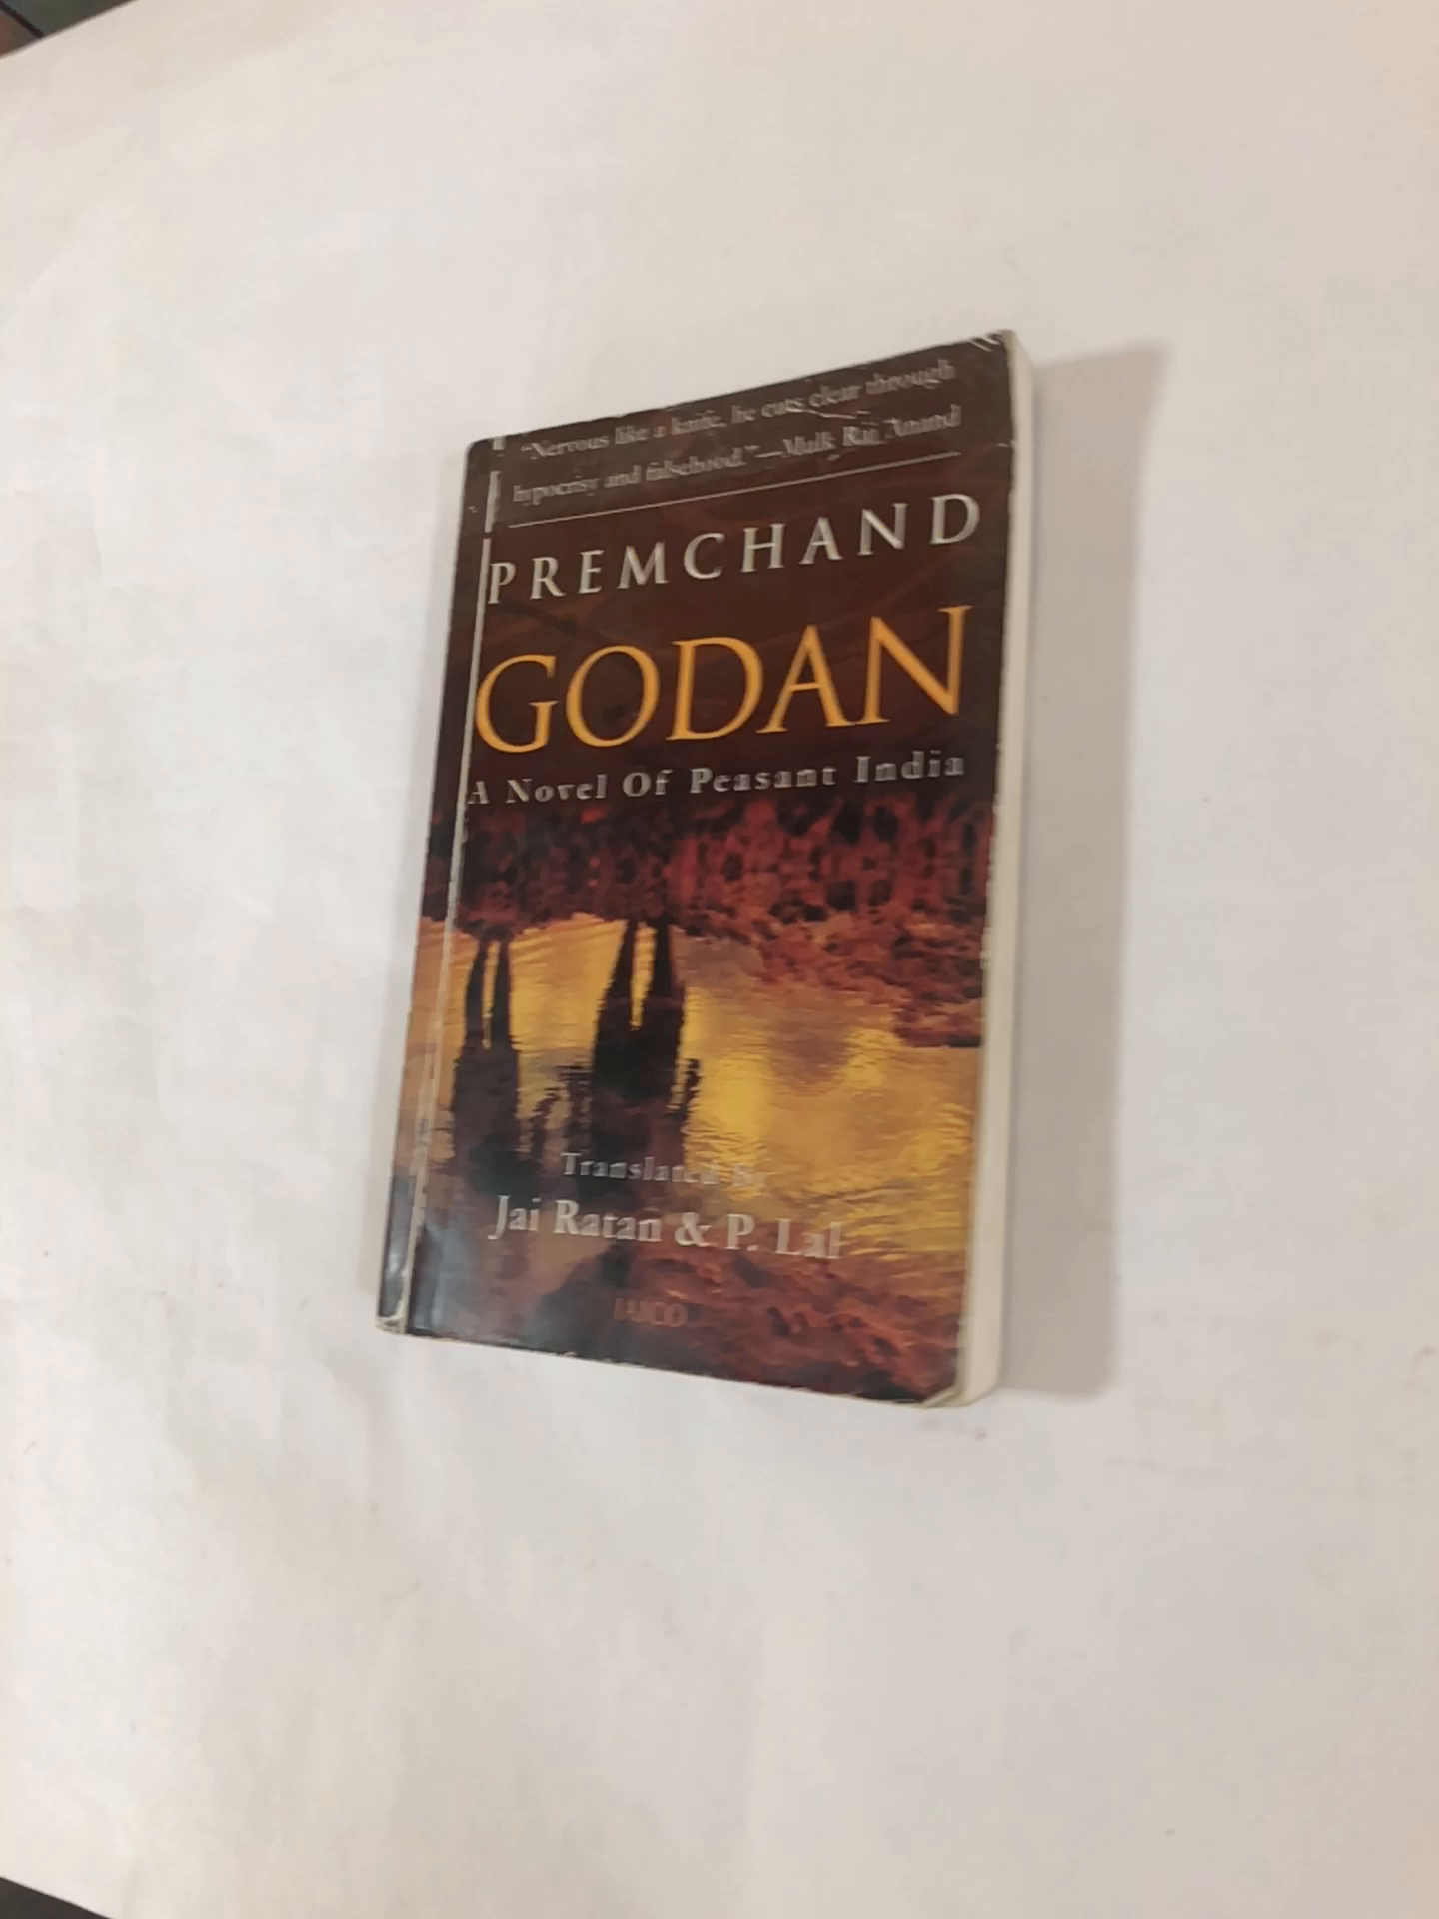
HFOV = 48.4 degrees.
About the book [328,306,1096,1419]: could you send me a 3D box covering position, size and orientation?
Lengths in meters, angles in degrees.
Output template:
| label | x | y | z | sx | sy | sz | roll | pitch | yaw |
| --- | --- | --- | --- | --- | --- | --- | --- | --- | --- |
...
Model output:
| label | x | y | z | sx | sy | sz | roll | pitch | yaw |
| --- | --- | --- | --- | --- | --- | --- | --- | --- | --- |
| book | -0.003 | -0.021 | 0.342 | 0.151 | 0.030 | 0.210 | 0 | 80 | 28 |
